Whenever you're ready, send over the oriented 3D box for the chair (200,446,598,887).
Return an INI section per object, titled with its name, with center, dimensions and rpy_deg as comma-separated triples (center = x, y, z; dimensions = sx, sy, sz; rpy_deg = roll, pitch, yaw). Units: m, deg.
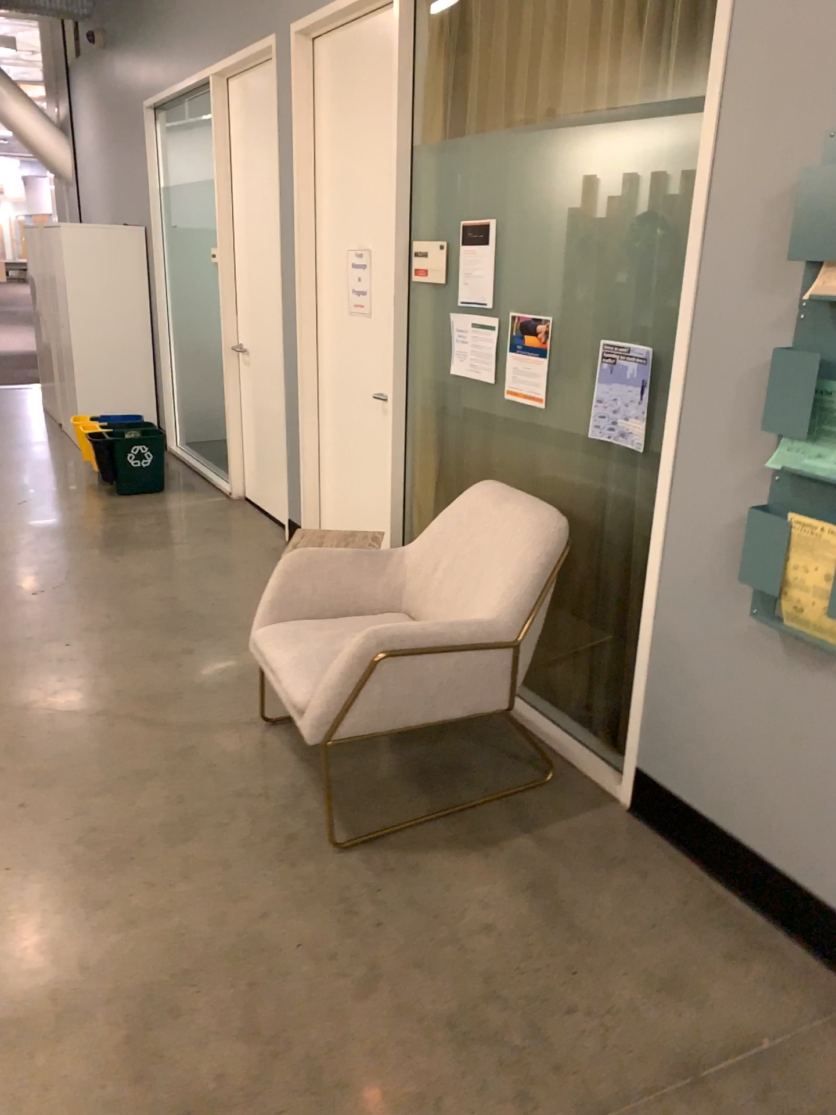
[chair]
center = -0.098, 0.232, 2.565
dimensions = 0.870, 0.926, 0.784
rpy_deg = -8, 22, -26
